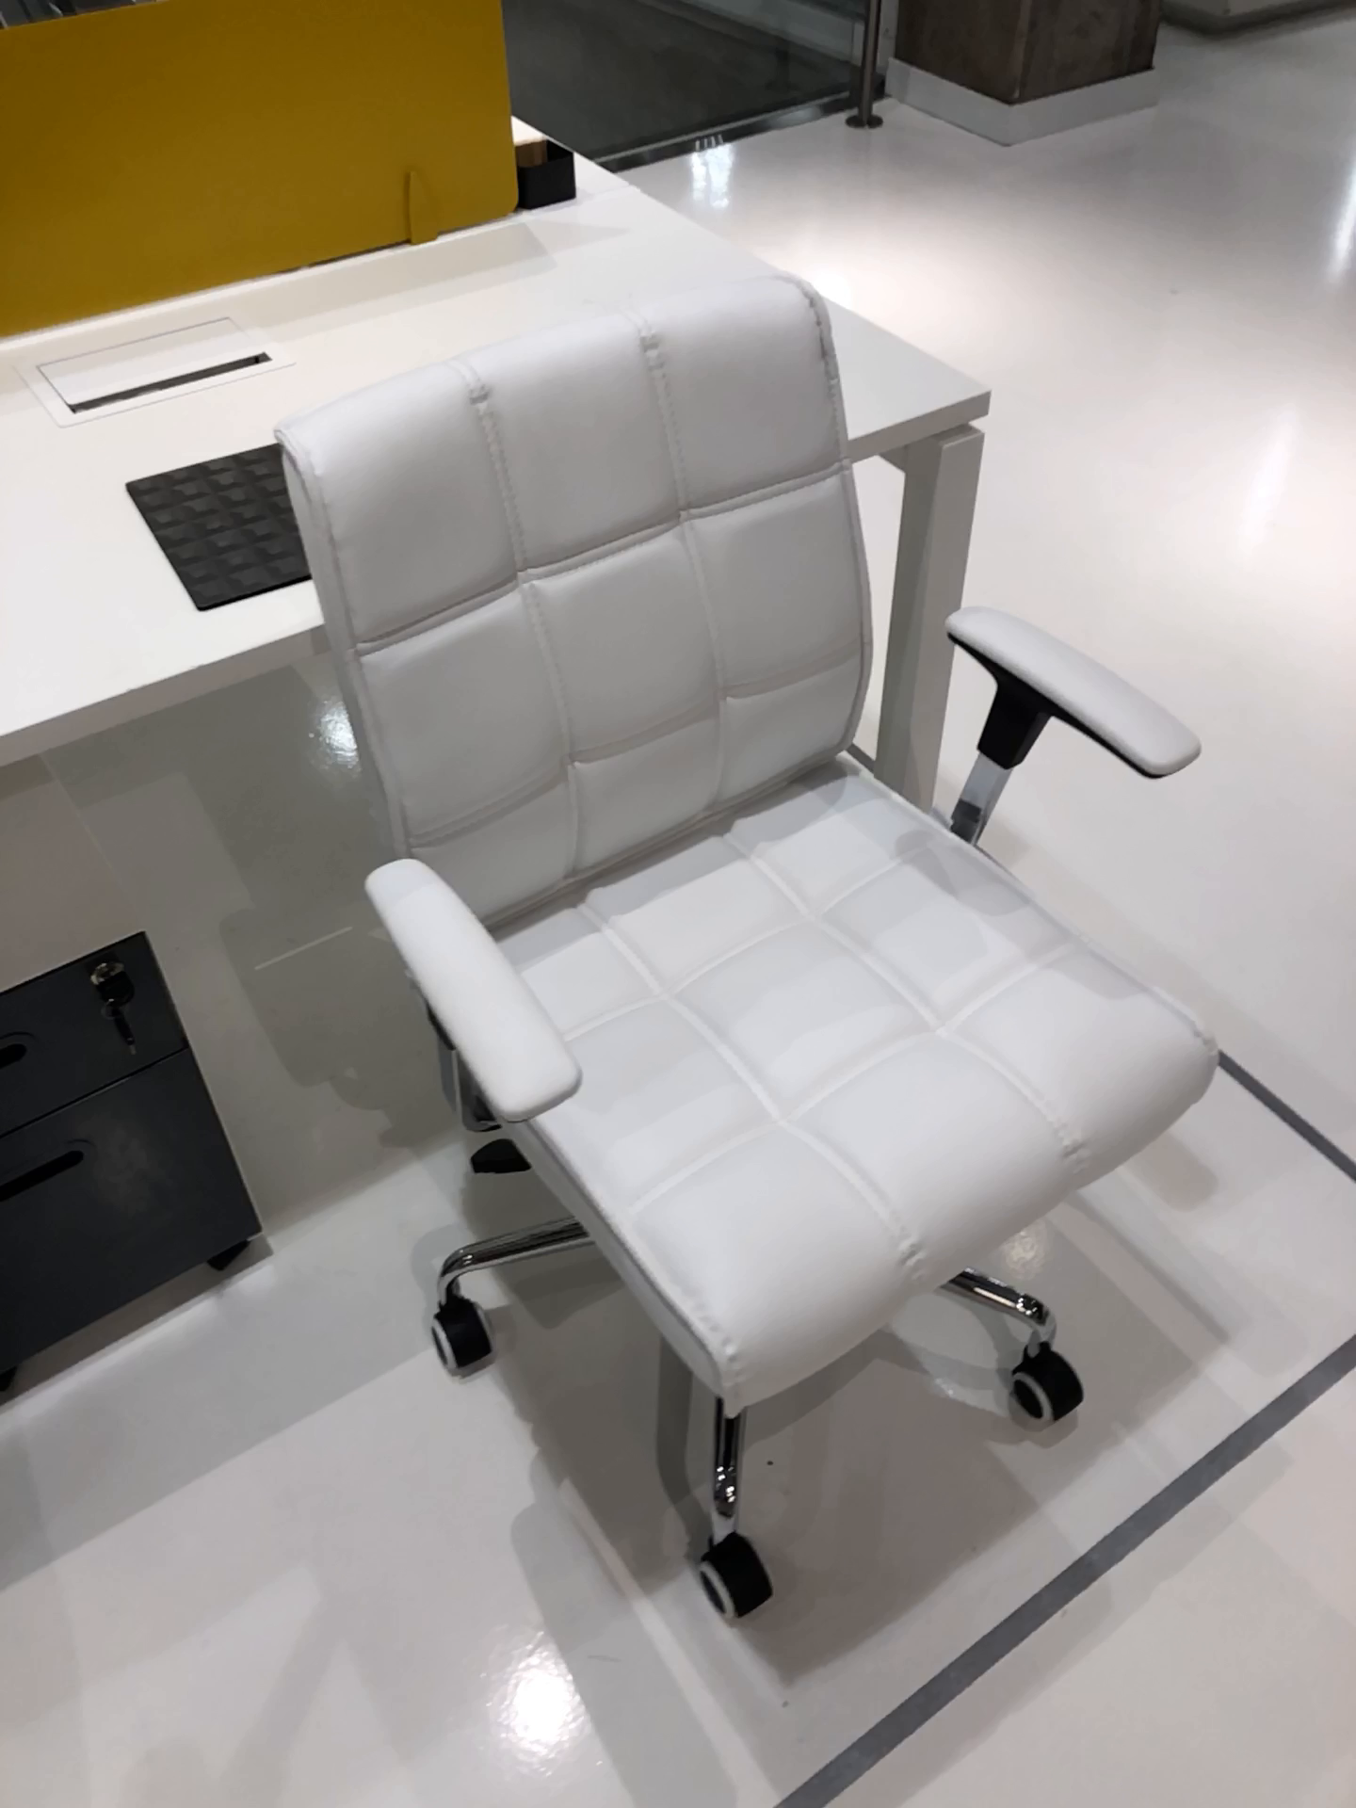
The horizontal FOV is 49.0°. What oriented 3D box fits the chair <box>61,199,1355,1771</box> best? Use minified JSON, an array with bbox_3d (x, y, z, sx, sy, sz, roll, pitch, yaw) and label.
[{"bbox_3d":[0.068,0.060,1.195,0.652,0.884,0.633,-28,51,-25],"label":"chair"}]
